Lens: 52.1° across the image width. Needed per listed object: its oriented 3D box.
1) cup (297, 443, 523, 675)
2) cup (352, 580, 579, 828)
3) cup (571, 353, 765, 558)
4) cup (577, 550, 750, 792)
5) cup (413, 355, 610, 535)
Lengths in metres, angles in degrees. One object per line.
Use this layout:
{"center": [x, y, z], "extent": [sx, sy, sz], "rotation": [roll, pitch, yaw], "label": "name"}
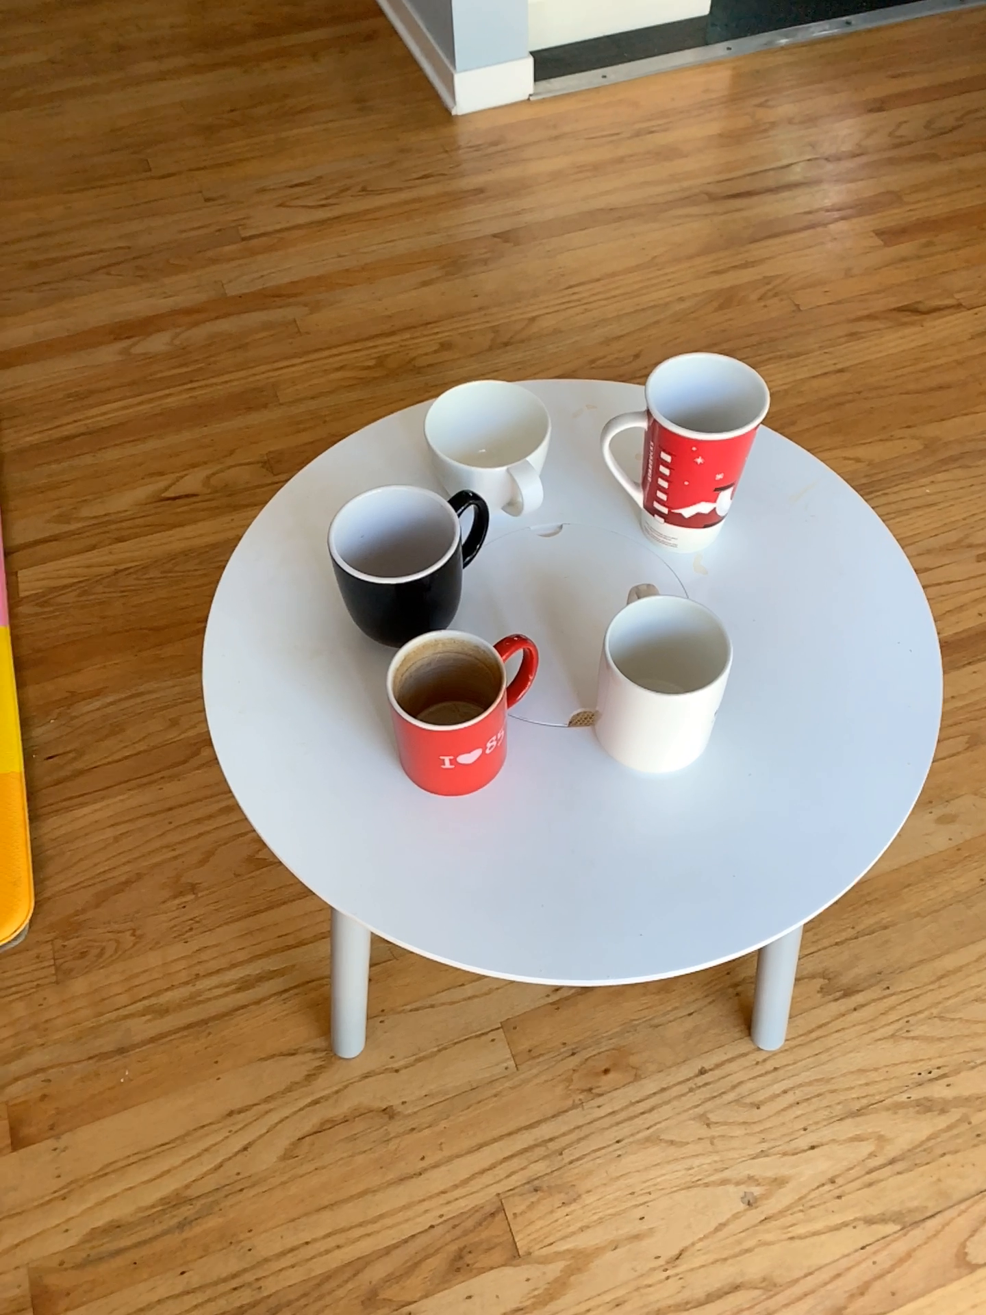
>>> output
{"center": [-0.057, -0.073, 0.737], "extent": [0.130, 0.080, 0.090], "rotation": [-35, 62, -21], "label": "cup"}
{"center": [-0.017, 0.031, 0.674], "extent": [0.120, 0.090, 0.080], "rotation": [-35, 62, -21], "label": "cup"}
{"center": [0.130, -0.157, 0.793], "extent": [0.130, 0.120, 0.100], "rotation": [1, 55, 2], "label": "cup"}
{"center": [0.110, 0.010, 0.690], "extent": [0.090, 0.100, 0.130], "rotation": [-1, 55, 0], "label": "cup"}
{"center": [0.012, -0.167, 0.779], "extent": [0.100, 0.040, 0.120], "rotation": [-27, 59, -17], "label": "cup"}
